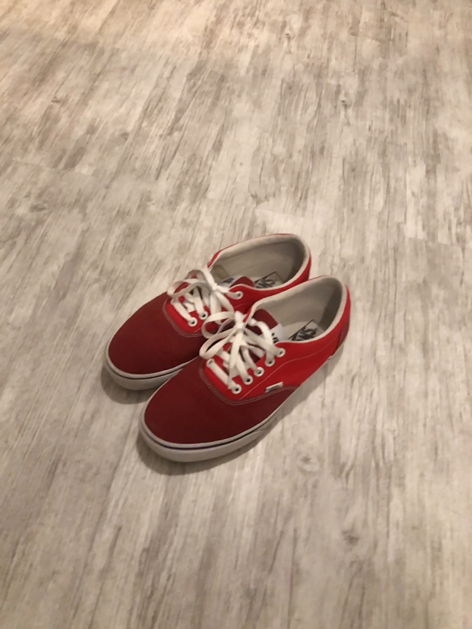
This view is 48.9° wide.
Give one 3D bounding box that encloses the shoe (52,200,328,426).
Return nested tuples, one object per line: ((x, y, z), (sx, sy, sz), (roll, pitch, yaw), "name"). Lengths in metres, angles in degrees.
((-0.043, -0.010, 0.579), (0.272, 0.093, 0.110), (-30, 63, -23), "shoe")

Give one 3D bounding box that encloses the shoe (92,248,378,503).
((0.004, 0.053, 0.535), (0.266, 0.088, 0.110), (-33, 64, -24), "shoe")
